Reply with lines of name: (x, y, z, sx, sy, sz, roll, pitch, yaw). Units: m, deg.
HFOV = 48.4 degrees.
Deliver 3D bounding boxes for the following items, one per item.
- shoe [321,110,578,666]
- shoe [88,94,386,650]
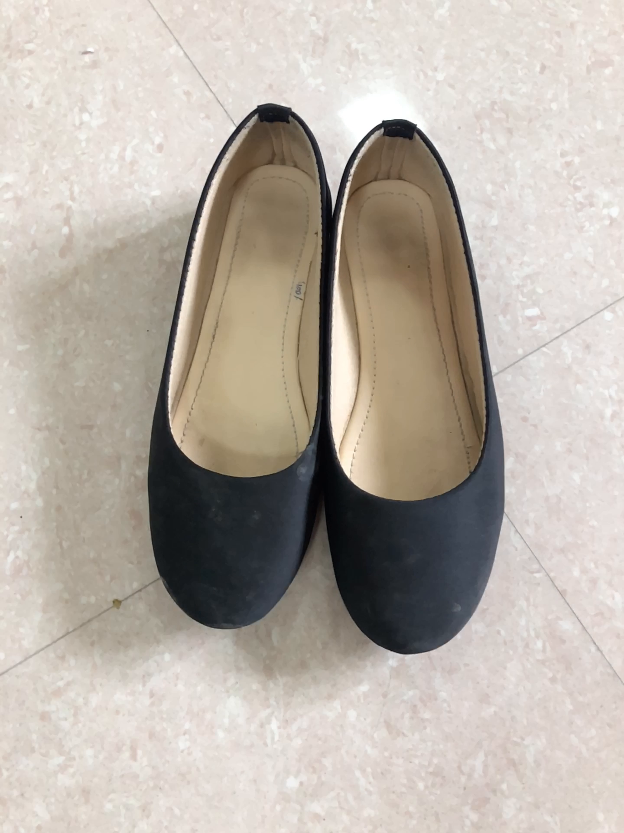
shoe: (0.052, -0.015, 0.321, 0.092, 0.075, 0.239, 0, 74, 2)
shoe: (-0.024, -0.022, 0.327, 0.092, 0.075, 0.239, 6, 74, 3)
